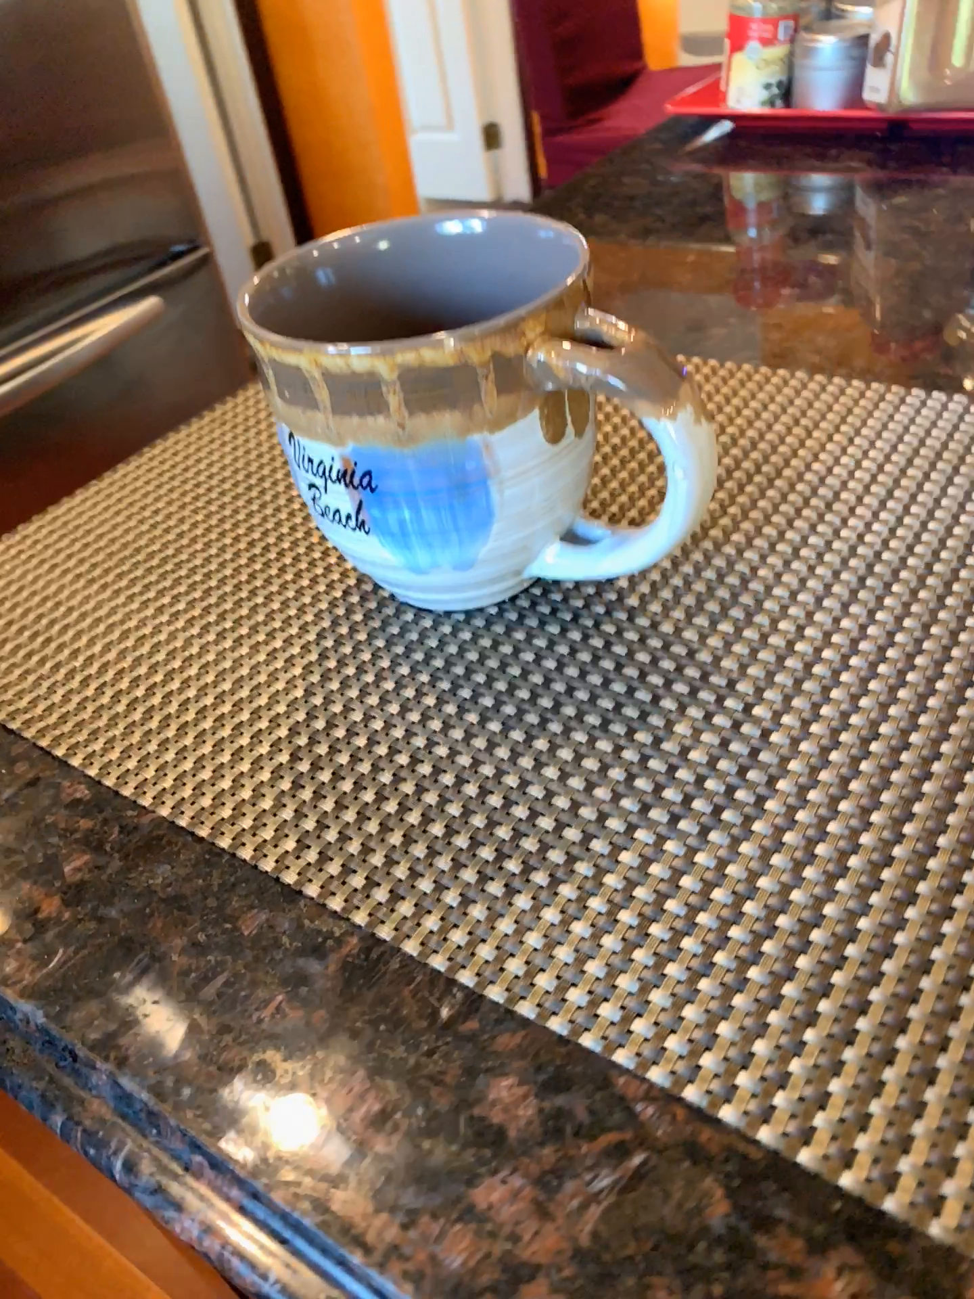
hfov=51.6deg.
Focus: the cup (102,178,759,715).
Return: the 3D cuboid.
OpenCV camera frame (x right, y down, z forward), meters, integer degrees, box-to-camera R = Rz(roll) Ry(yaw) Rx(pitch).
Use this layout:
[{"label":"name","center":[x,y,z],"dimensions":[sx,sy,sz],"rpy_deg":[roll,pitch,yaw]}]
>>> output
[{"label":"cup","center":[-0.014,-0.071,0.297],"dimensions":[0.150,0.089,0.100],"rpy_deg":[24,51,35]}]
